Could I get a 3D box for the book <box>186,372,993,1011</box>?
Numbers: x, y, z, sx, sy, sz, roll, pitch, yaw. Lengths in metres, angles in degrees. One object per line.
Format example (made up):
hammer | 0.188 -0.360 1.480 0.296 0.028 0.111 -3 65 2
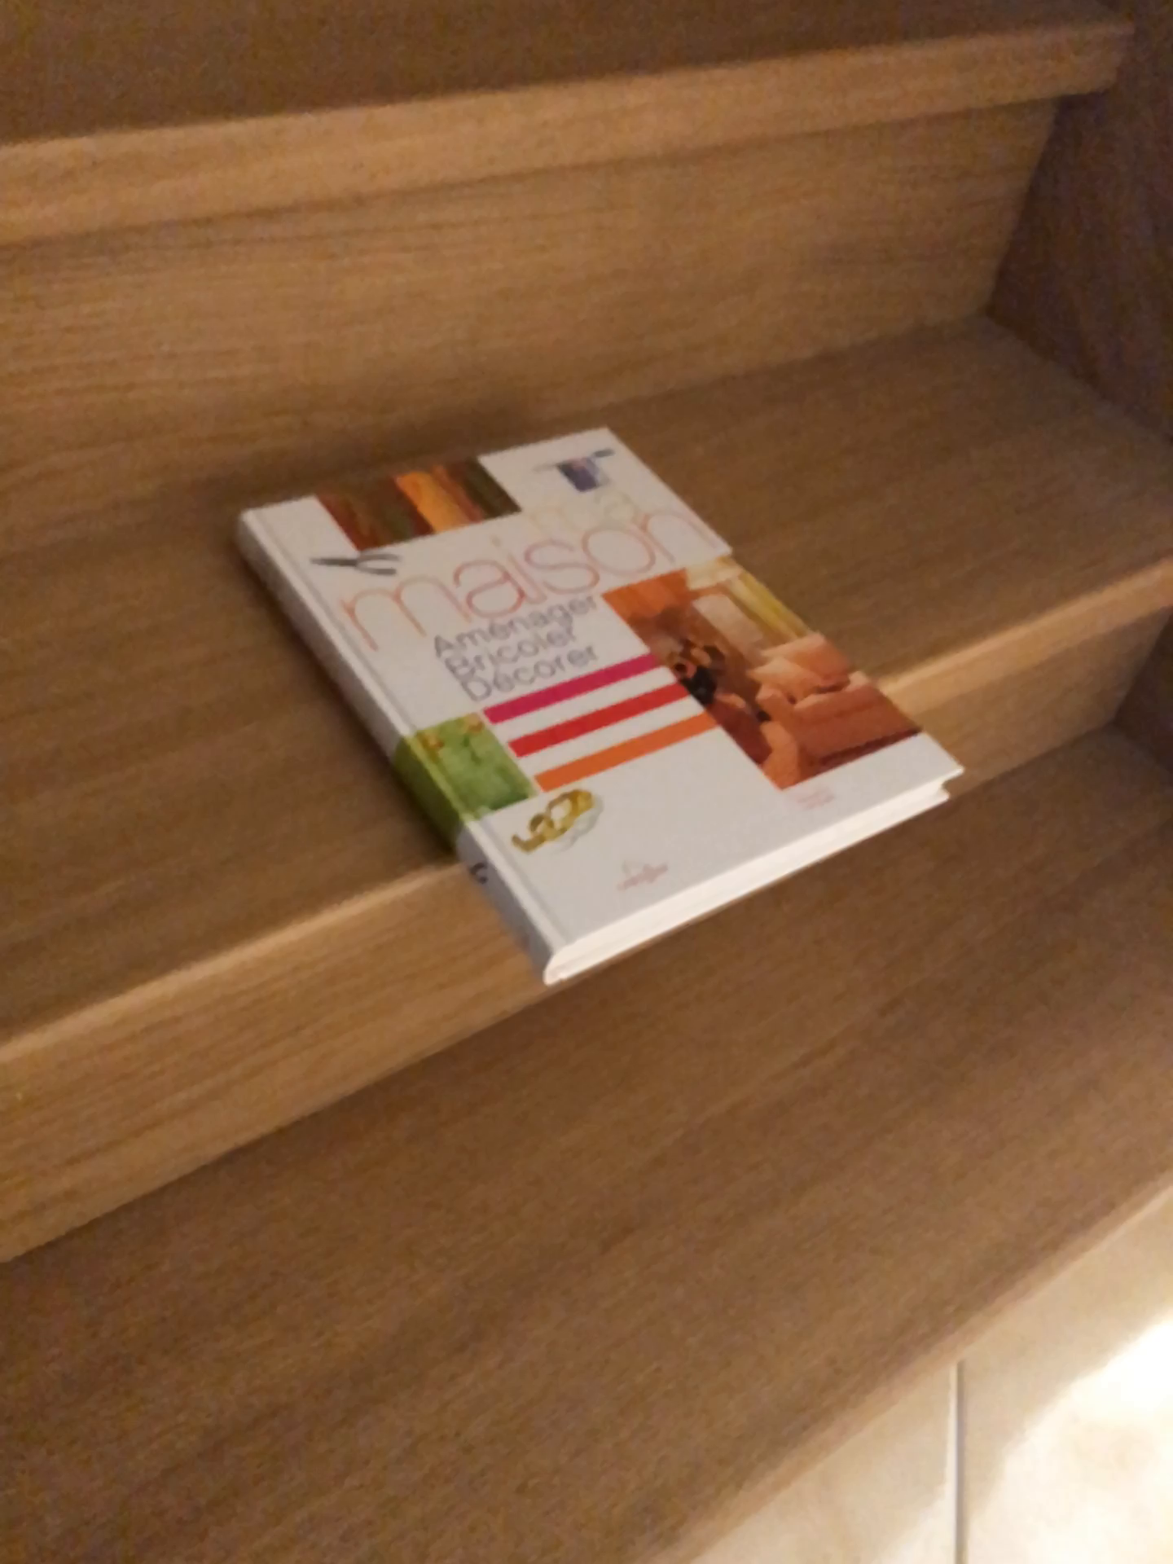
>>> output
book | -0.011 -0.068 0.565 0.211 0.030 0.310 -22 54 -27
